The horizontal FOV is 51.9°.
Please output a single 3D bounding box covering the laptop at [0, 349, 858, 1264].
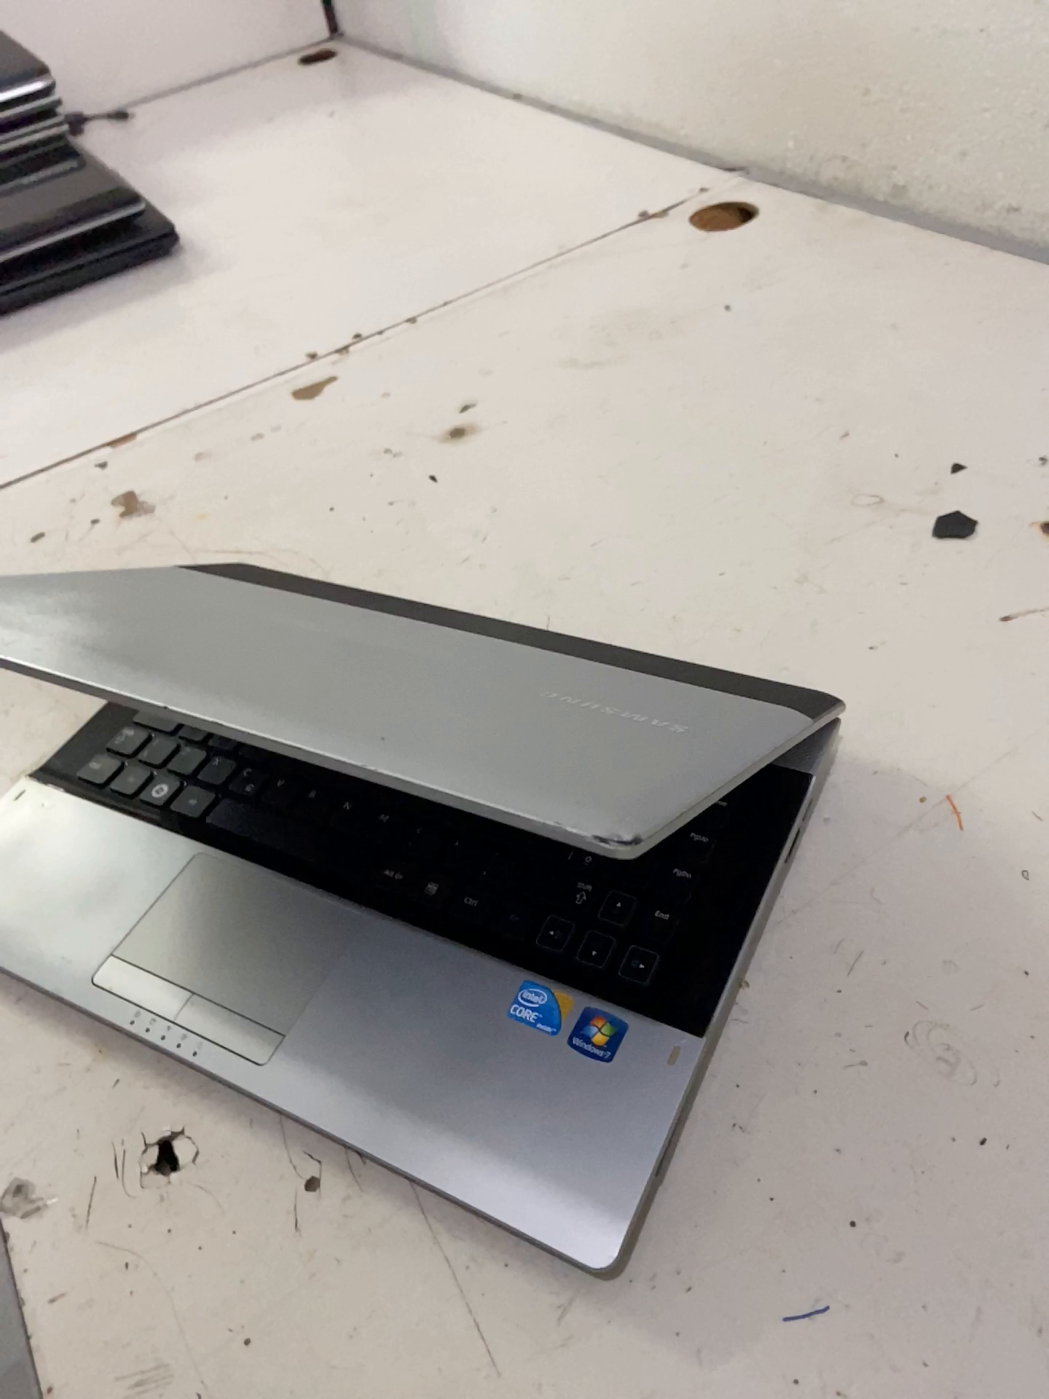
[{"bbox_3d":[-0.081,0.001,0.407,0.337,0.133,0.233,14,50,26],"label":"laptop"}]
